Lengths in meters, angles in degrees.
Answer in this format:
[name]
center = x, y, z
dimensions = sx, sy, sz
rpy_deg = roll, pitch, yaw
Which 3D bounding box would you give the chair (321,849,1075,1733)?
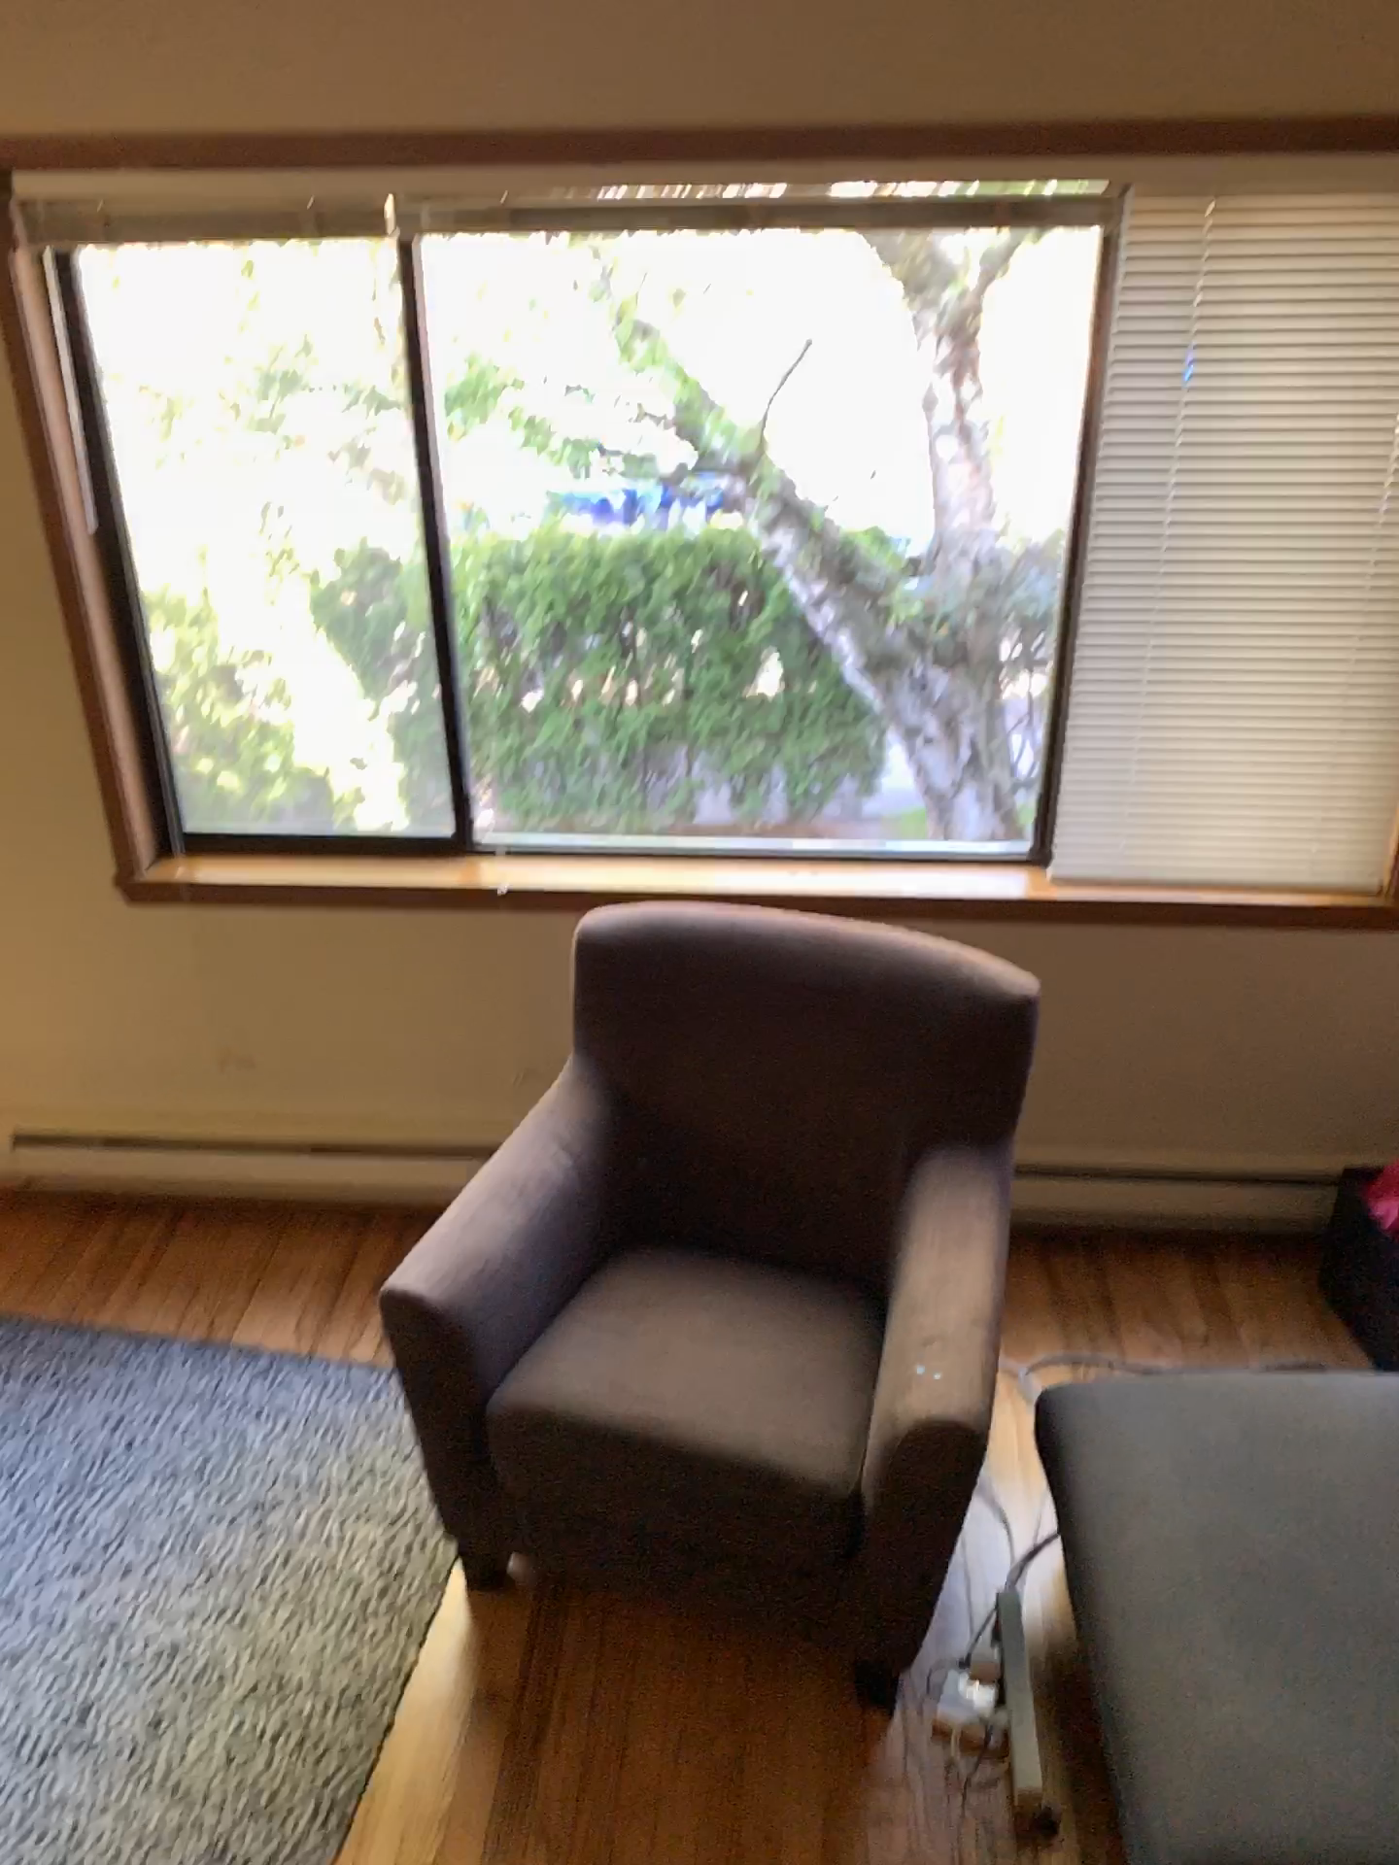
[chair]
center = 0.056, 0.472, 2.239
dimensions = 0.881, 0.876, 0.803
rpy_deg = 8, 26, 16
